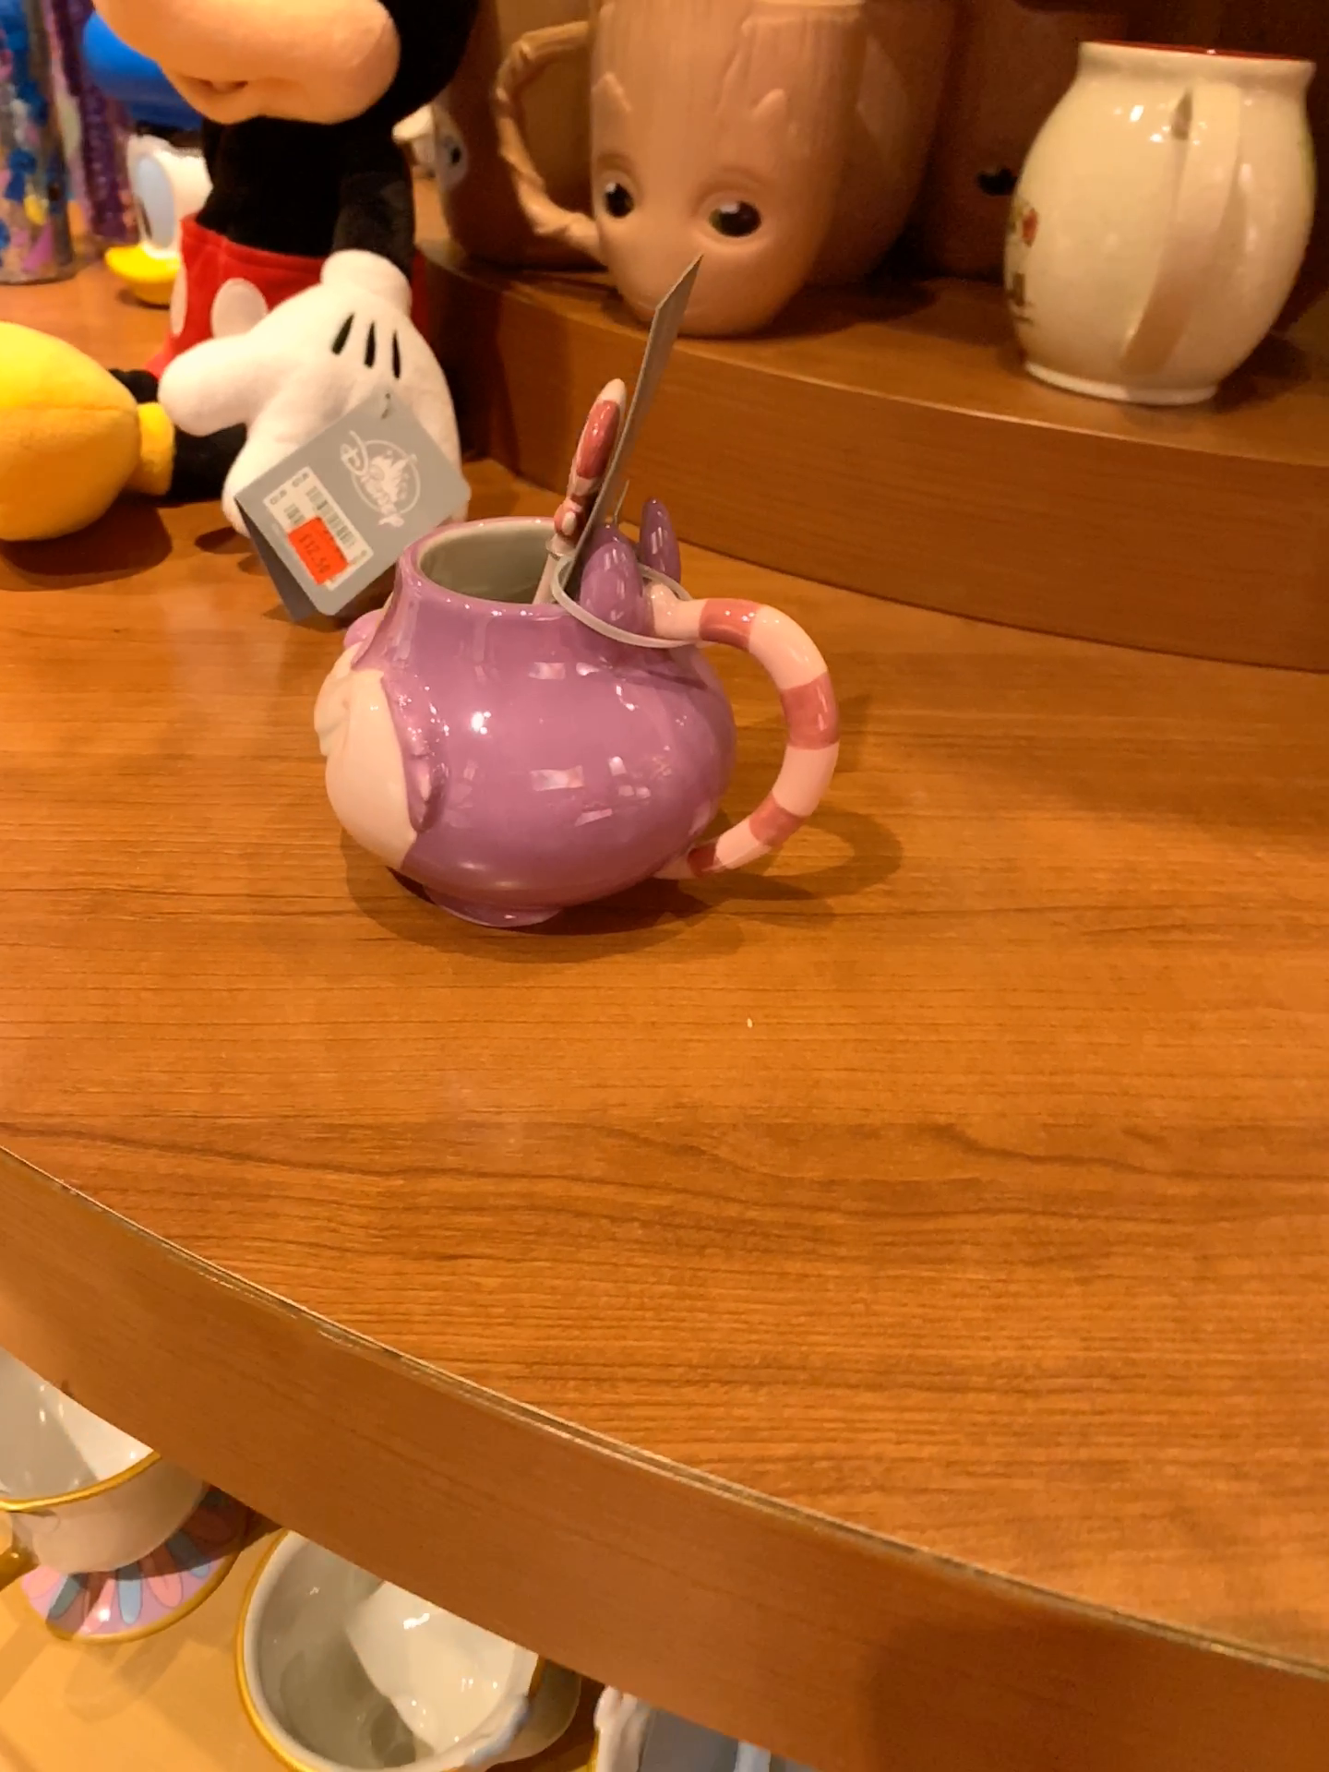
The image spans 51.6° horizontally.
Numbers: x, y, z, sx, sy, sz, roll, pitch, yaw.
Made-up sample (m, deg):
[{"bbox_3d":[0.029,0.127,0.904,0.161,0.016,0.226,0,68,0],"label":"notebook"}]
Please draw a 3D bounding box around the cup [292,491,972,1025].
[{"bbox_3d":[-0.005,-0.039,0.354,0.142,0.077,0.115,6,33,2],"label":"cup"}]
